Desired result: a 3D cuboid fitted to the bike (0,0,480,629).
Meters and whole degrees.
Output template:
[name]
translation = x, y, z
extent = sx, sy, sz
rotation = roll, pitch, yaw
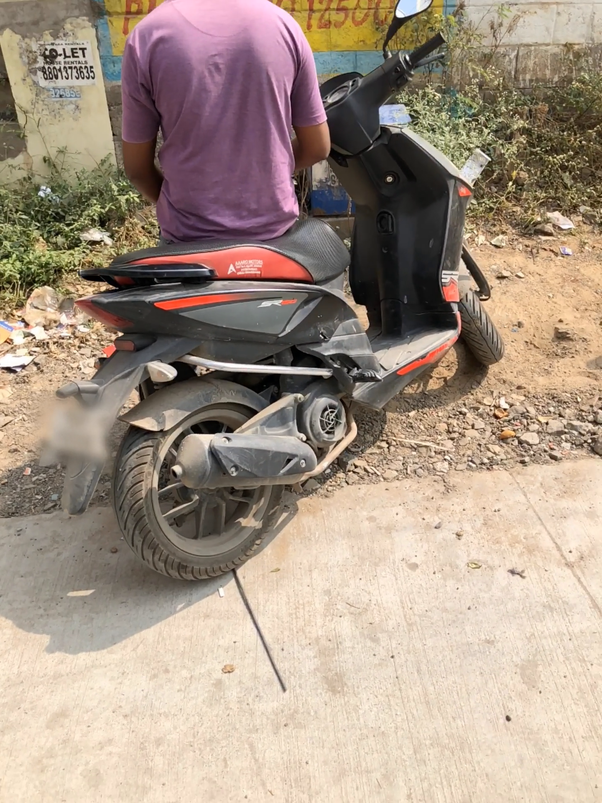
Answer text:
[bike]
translation = -0.138, -0.511, 2.117
extent = 0.717, 1.199, 1.775
rotation = 18, 40, 28
